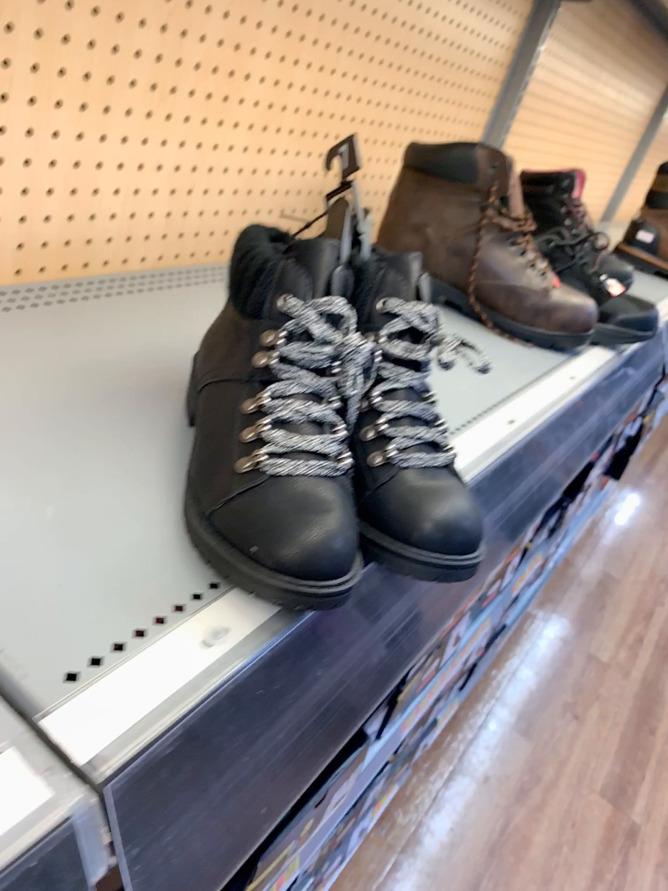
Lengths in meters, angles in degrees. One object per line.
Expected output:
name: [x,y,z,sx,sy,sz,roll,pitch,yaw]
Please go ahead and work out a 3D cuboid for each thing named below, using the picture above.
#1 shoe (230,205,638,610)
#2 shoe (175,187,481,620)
shoe: [0.041,-0.037,0.443,0.105,0.137,0.232,-2,37,-34]
shoe: [-0.028,-0.039,0.410,0.104,0.137,0.237,10,32,-19]
